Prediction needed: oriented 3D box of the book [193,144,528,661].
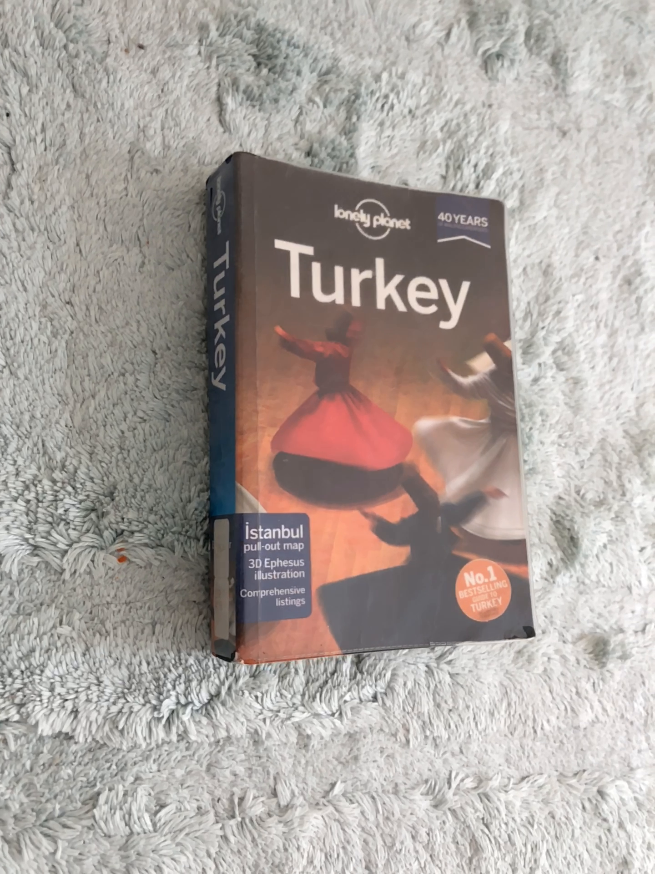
[{"bbox_3d":[0.014,-0.011,0.312,0.130,0.046,0.190,3,82,-24],"label":"book"}]
